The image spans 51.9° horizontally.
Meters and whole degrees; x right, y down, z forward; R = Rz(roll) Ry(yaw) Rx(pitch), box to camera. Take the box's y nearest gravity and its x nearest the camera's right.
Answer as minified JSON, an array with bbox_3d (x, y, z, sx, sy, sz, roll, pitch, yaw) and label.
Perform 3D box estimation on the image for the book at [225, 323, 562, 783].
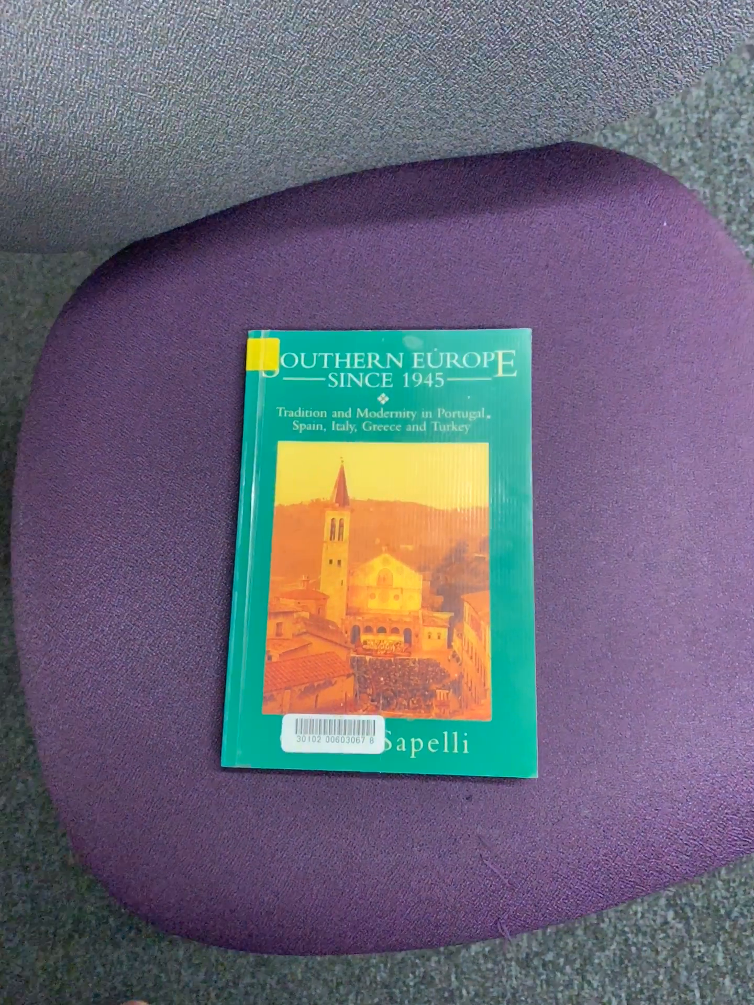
[{"bbox_3d":[0.009,0.019,0.384,0.153,0.020,0.221,0,78,4],"label":"book"}]
